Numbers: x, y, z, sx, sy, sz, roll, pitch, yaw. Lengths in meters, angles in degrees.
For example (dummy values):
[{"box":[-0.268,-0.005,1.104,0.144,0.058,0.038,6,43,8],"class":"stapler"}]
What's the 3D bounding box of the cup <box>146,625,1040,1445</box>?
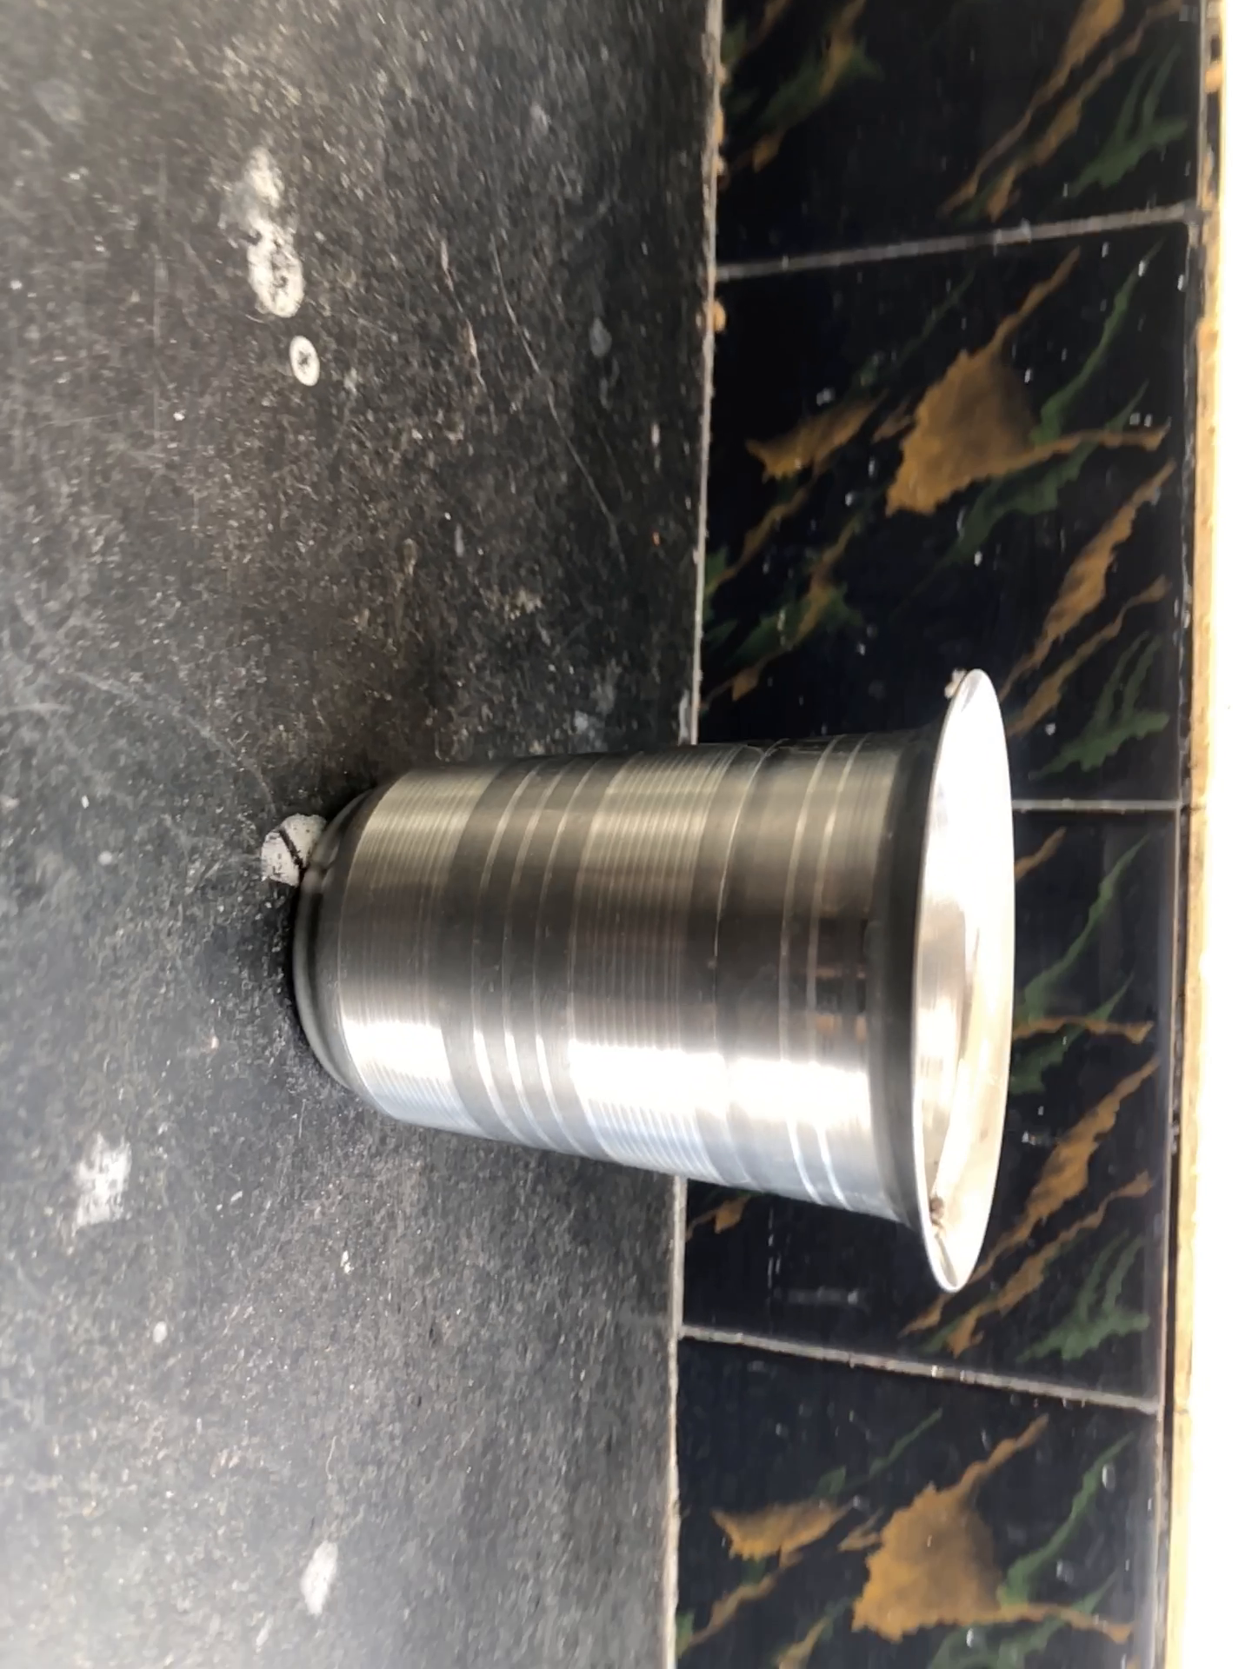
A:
[{"box":[0.005,0.021,0.226,0.090,0.109,0.090,2,90,-68],"class":"cup"}]
